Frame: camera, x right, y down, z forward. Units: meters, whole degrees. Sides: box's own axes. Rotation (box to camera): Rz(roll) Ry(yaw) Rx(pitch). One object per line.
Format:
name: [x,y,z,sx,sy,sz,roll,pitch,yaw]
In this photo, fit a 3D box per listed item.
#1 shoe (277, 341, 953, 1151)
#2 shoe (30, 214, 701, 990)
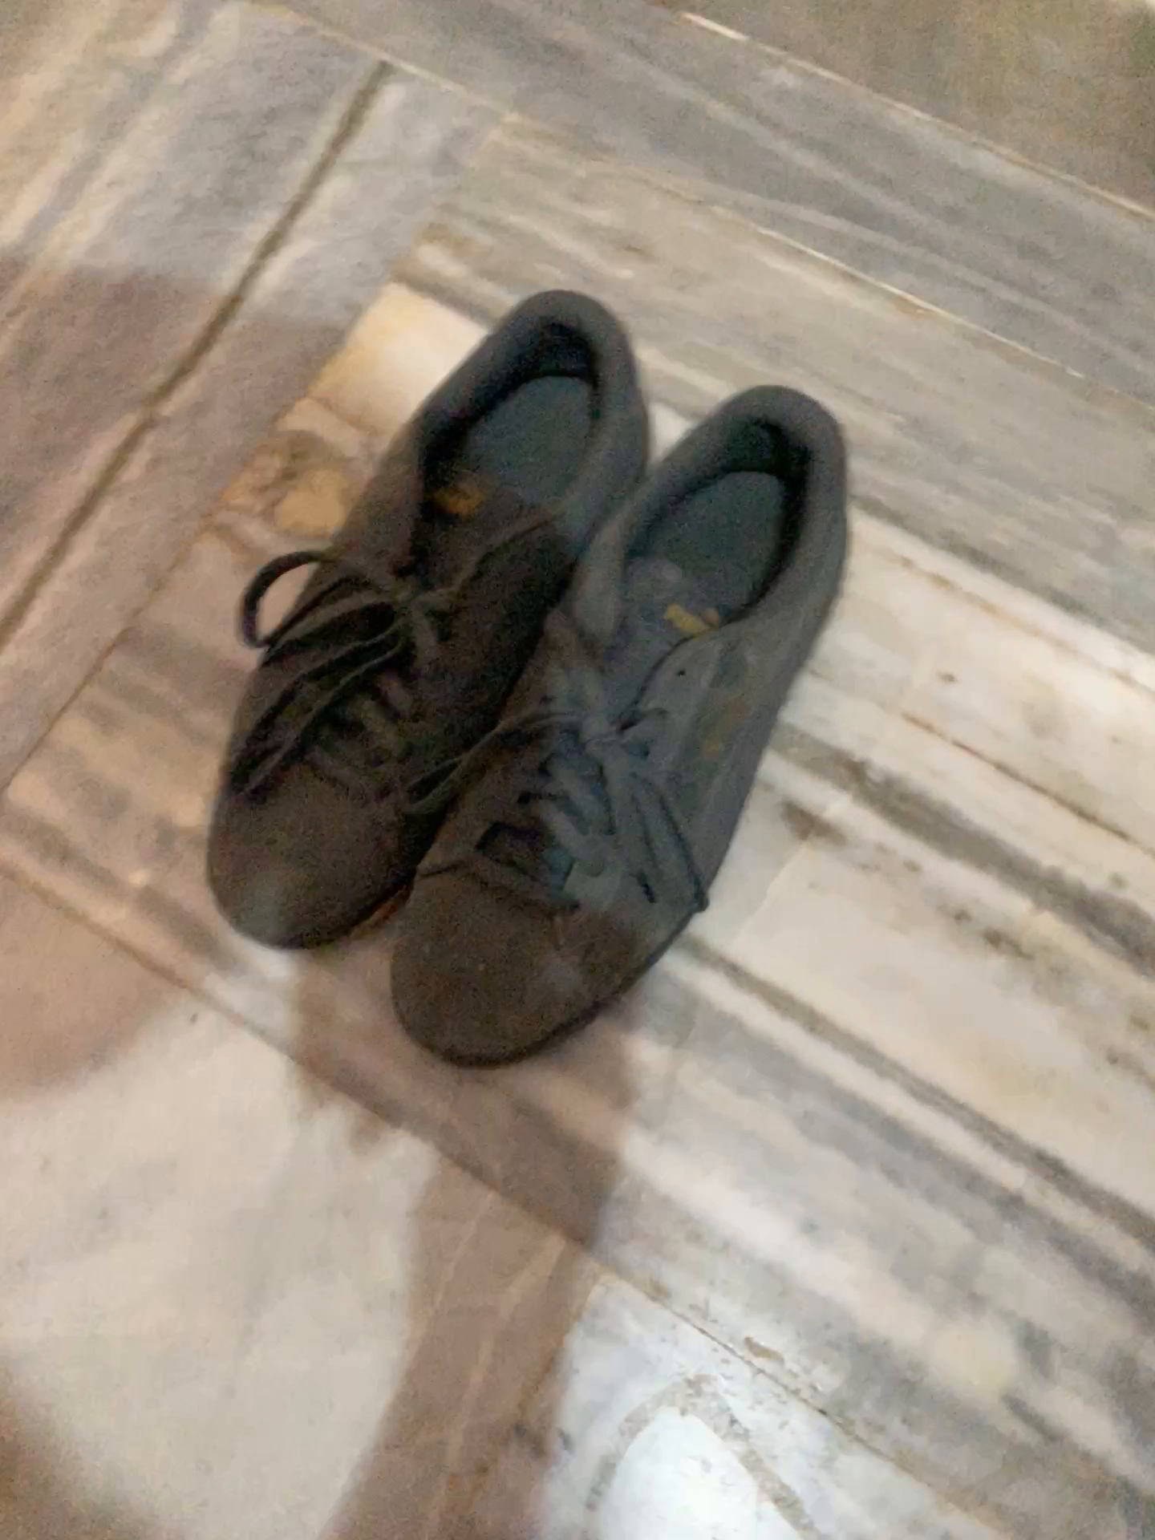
shoe: [0.021,-0.009,0.473,0.110,0.100,0.290,30,79,10]
shoe: [-0.072,-0.067,0.490,0.110,0.100,0.290,30,79,10]
